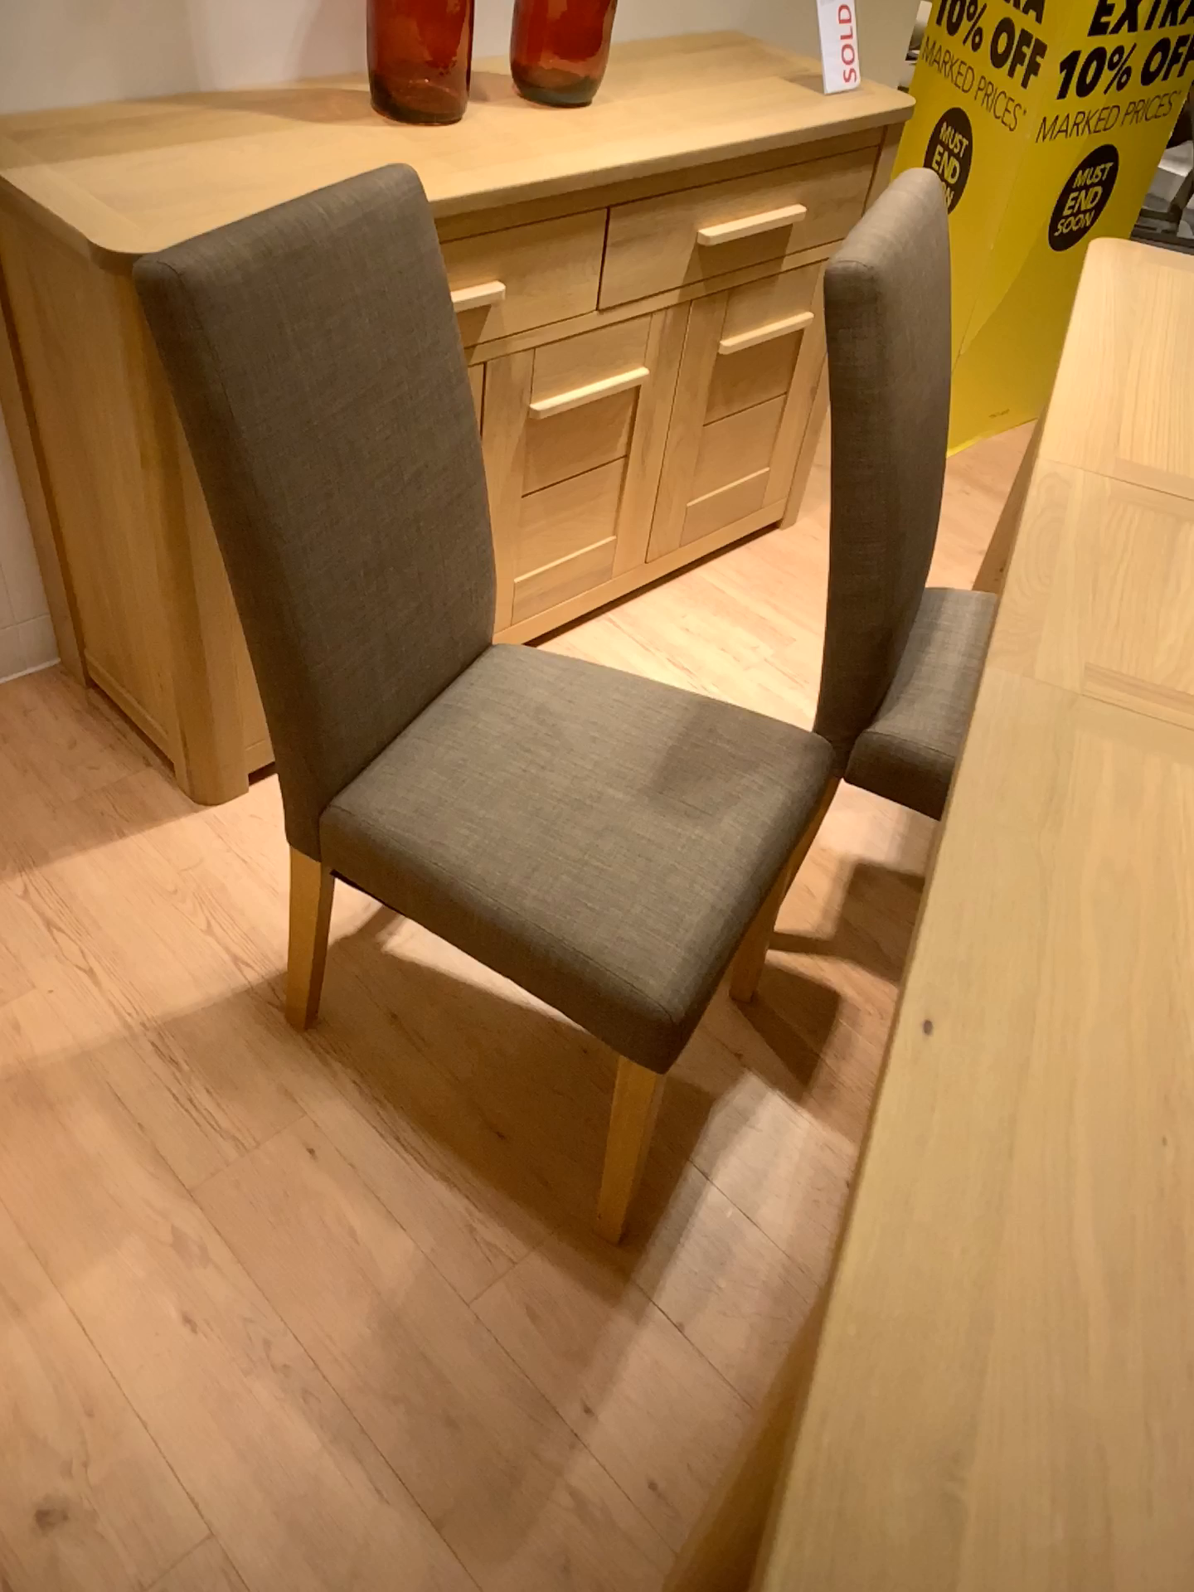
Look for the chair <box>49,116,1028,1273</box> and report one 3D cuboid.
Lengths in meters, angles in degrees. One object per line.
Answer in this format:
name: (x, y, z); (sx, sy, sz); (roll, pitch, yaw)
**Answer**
chair: (-0.068, -0.072, 1.279); (0.611, 0.951, 0.494); (25, 45, 16)
